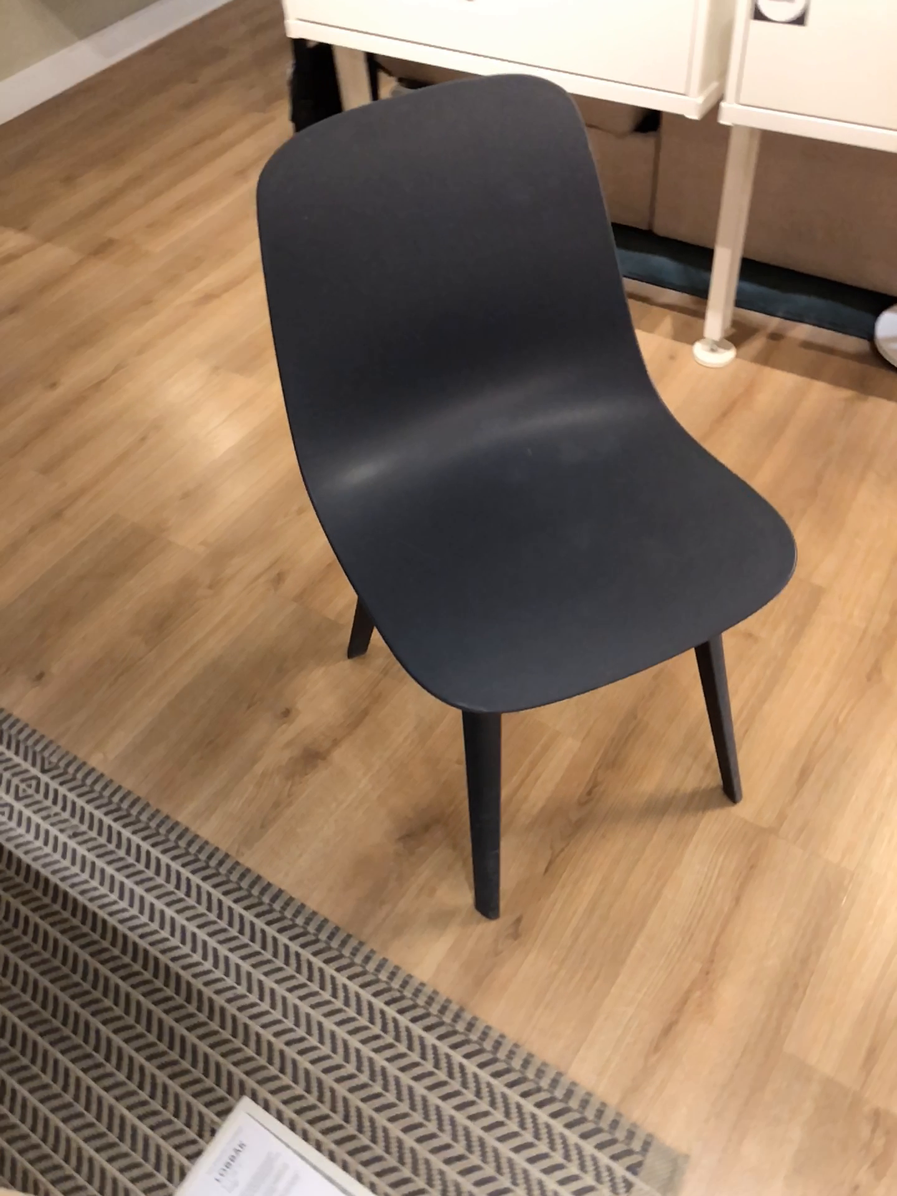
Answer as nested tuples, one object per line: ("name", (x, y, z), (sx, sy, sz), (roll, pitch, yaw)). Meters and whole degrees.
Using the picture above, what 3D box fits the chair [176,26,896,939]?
("chair", (0.093, -0.108, 1.114), (0.470, 0.728, 0.562), (-22, 51, -12))
